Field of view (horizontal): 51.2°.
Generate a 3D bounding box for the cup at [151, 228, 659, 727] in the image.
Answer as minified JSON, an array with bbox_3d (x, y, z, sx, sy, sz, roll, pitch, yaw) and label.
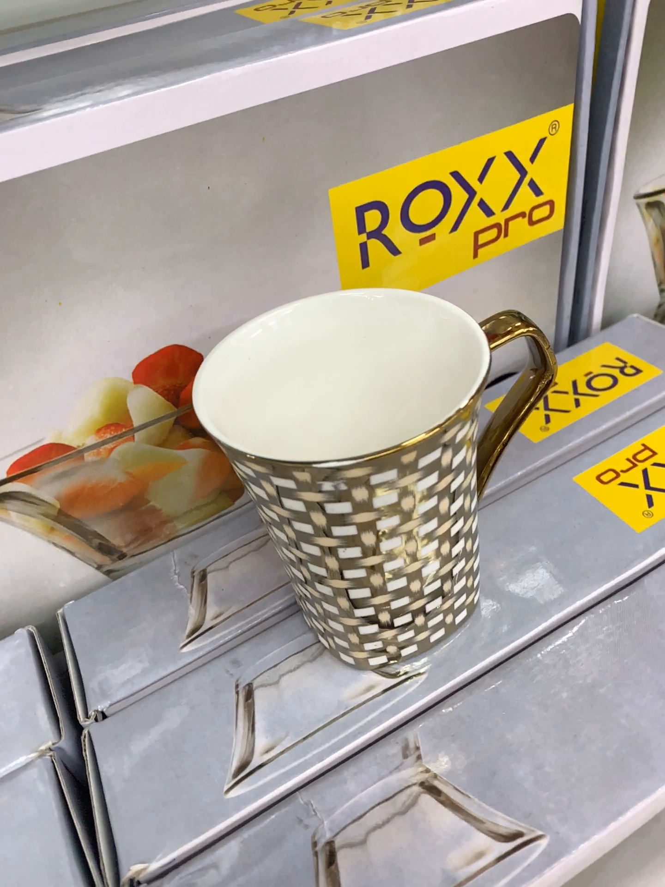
[{"bbox_3d":[0.020,0.005,0.220,0.112,0.092,0.083,-23,42,-16],"label":"cup"}]
